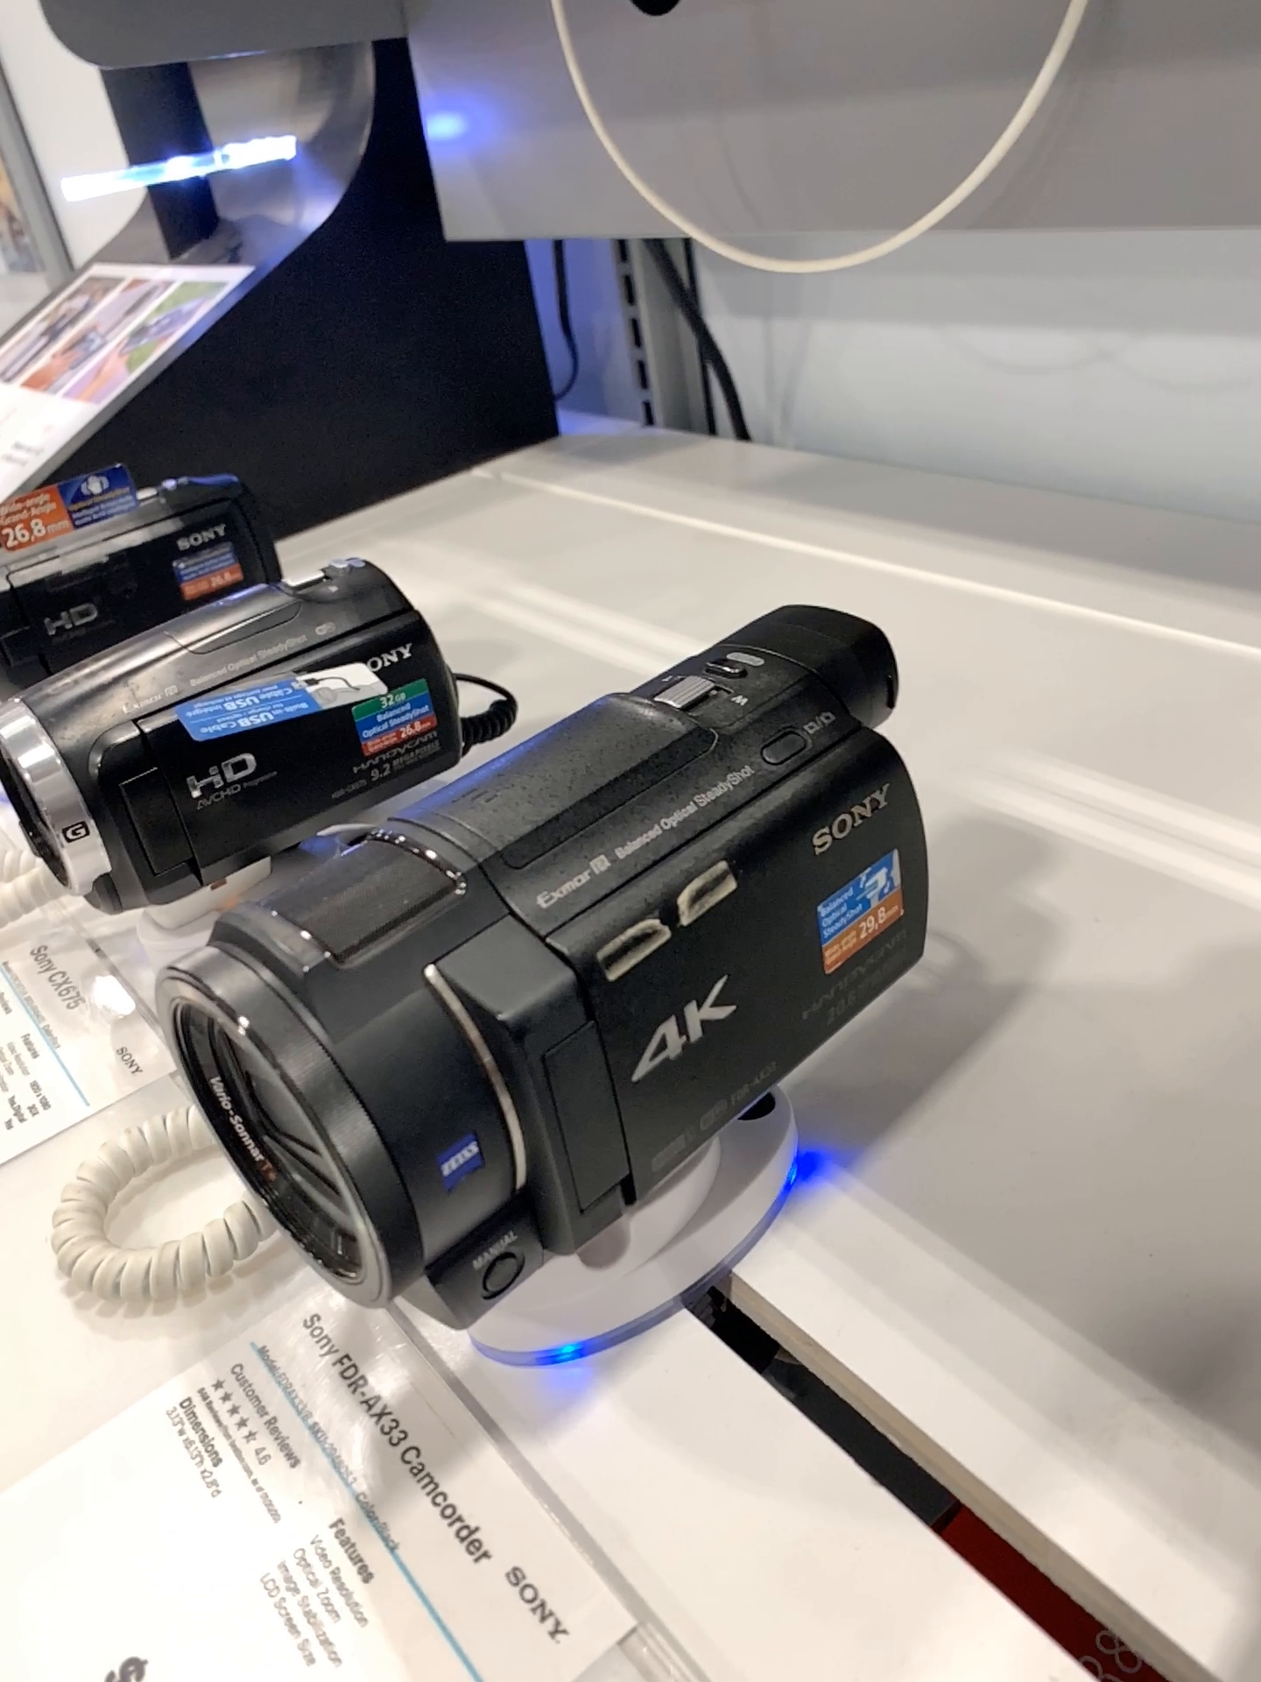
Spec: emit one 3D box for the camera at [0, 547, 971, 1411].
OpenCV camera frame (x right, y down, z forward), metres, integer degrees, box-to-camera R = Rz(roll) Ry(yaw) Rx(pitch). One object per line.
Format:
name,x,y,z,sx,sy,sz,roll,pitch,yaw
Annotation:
camera,-0.021,0.009,0.244,0.136,0.067,0.103,-33,38,-31
